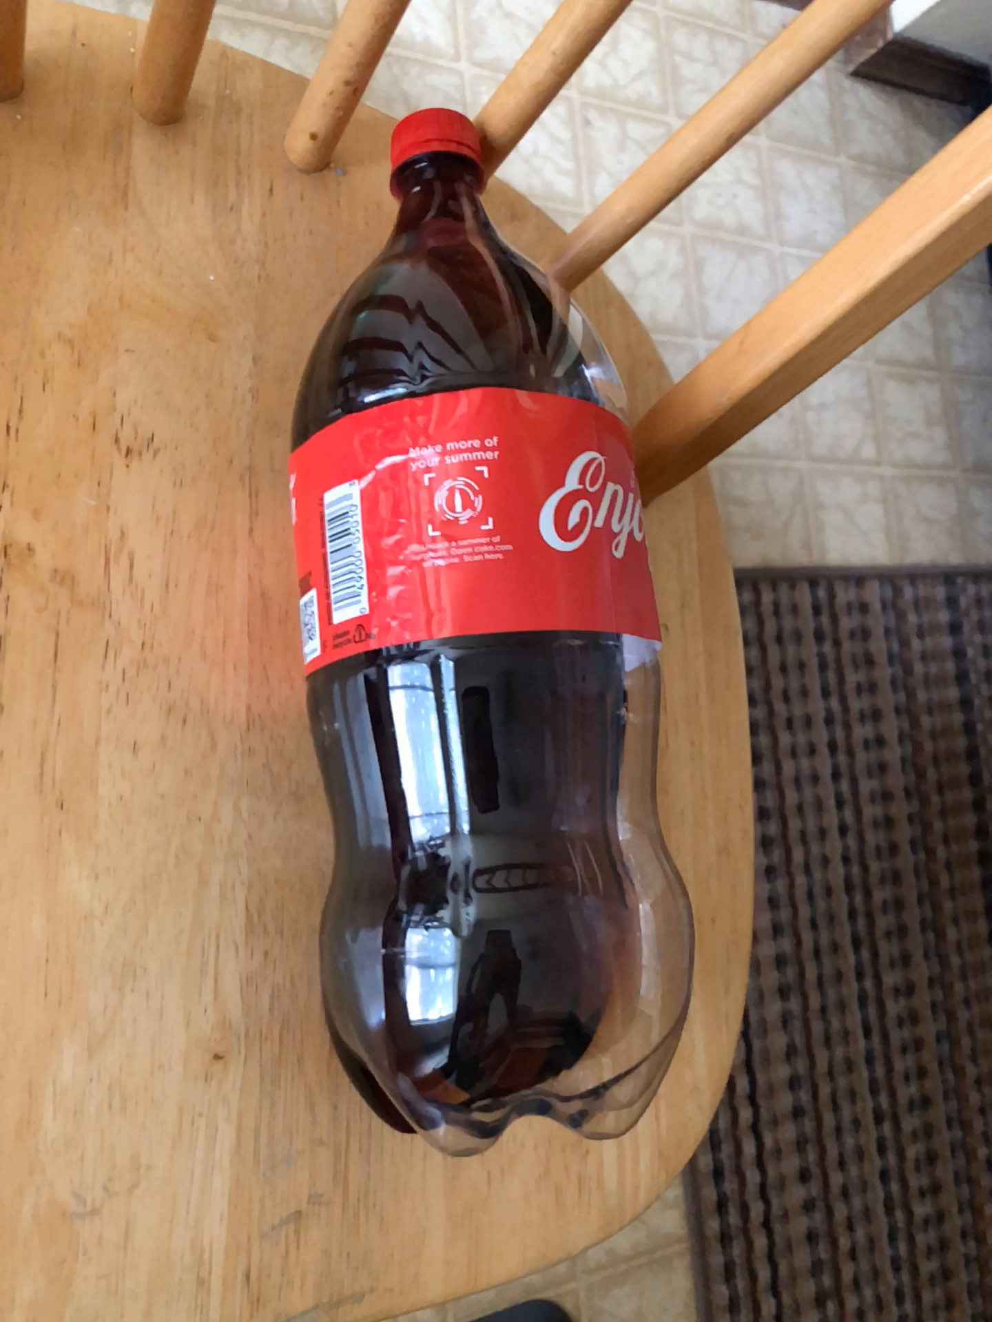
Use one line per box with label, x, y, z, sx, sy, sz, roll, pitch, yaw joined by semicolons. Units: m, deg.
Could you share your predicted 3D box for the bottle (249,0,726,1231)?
bottle;0.000;-0.022;0.330;0.100;0.120;0.320;-4;82;7
